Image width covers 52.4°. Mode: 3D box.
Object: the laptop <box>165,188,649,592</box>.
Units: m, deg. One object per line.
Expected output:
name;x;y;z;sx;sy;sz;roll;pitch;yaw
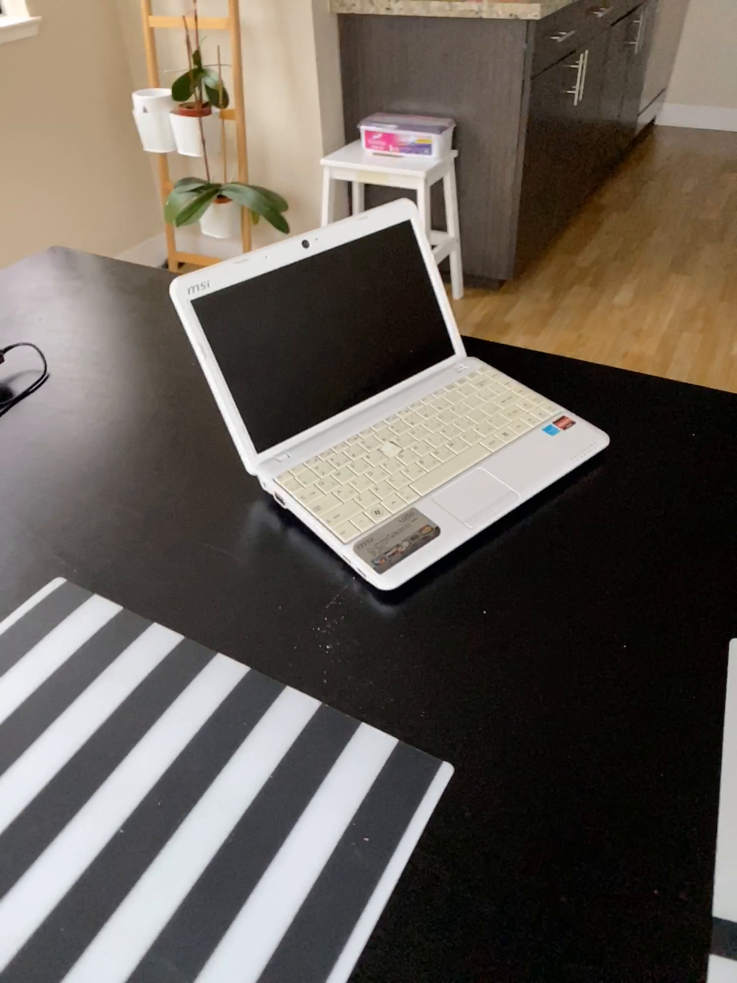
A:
laptop;0.032;-0.123;0.701;0.295;0.153;0.302;-30;50;-29
